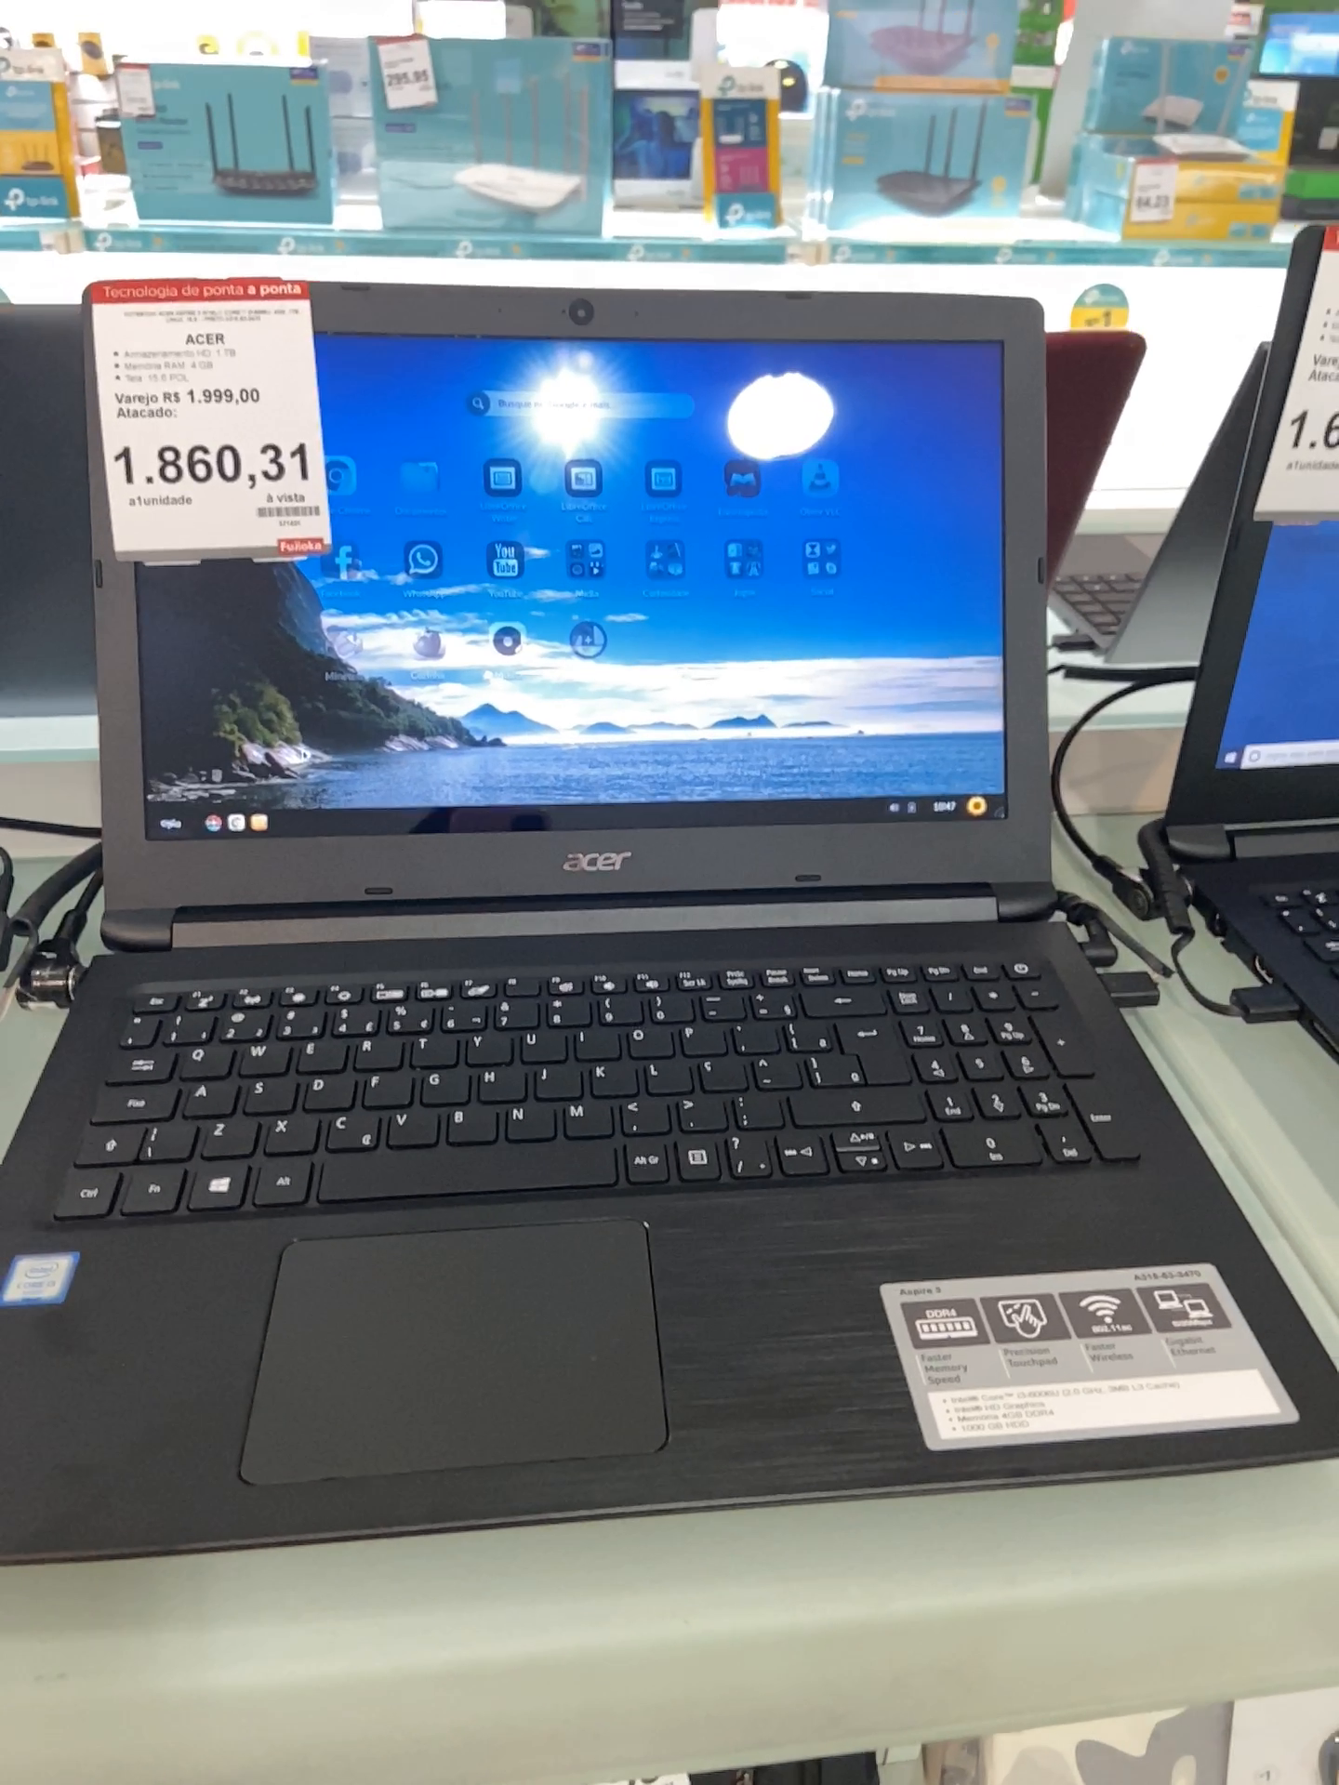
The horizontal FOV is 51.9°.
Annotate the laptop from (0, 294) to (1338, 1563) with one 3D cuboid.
[{"bbox_3d":[-0.021,-0.045,0.443,0.379,0.215,0.381,-2,32,-5],"label":"laptop"}]
